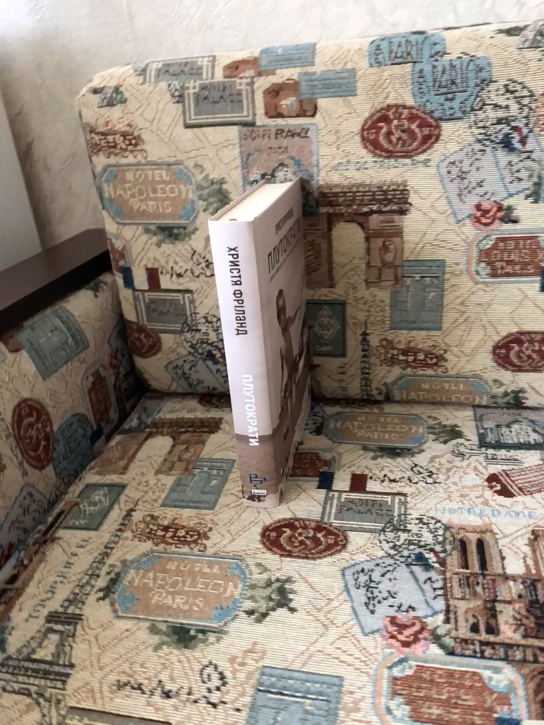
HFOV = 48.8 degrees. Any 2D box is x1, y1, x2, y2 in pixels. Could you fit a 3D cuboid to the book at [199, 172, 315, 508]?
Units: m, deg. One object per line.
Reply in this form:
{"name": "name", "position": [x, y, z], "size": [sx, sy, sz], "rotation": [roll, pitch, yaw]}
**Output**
{"name": "book", "position": [-0.001, -0.025, 0.471], "size": [0.036, 0.215, 0.158], "rotation": [2, 26, 13]}
